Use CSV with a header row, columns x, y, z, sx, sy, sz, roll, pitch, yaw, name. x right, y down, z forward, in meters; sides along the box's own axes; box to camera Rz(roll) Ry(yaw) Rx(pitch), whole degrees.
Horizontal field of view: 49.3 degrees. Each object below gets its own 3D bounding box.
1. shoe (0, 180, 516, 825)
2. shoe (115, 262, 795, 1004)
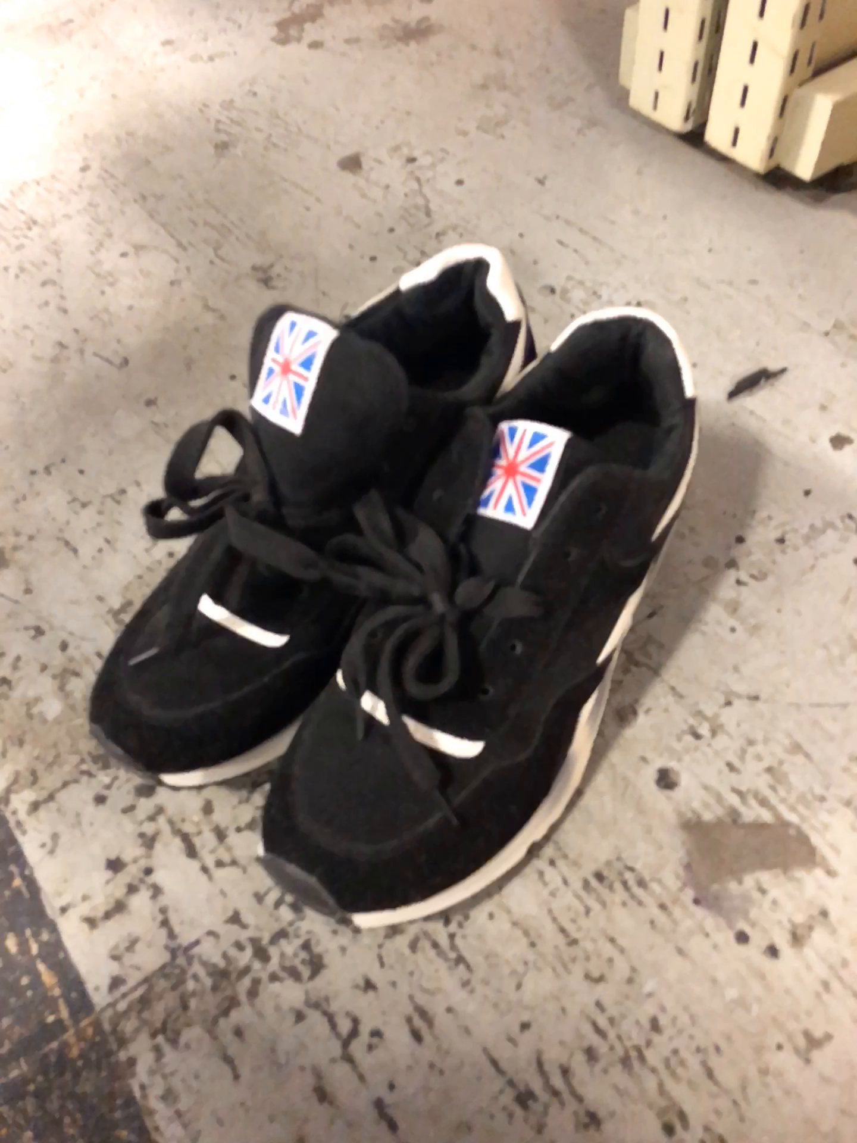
x,y,z,sx,sy,sz,roll,pitch,yaw,name
-0.068,-0.036,0.391,0.100,0.119,0.231,28,63,22,shoe
0.024,0.012,0.355,0.110,0.109,0.241,28,63,22,shoe
